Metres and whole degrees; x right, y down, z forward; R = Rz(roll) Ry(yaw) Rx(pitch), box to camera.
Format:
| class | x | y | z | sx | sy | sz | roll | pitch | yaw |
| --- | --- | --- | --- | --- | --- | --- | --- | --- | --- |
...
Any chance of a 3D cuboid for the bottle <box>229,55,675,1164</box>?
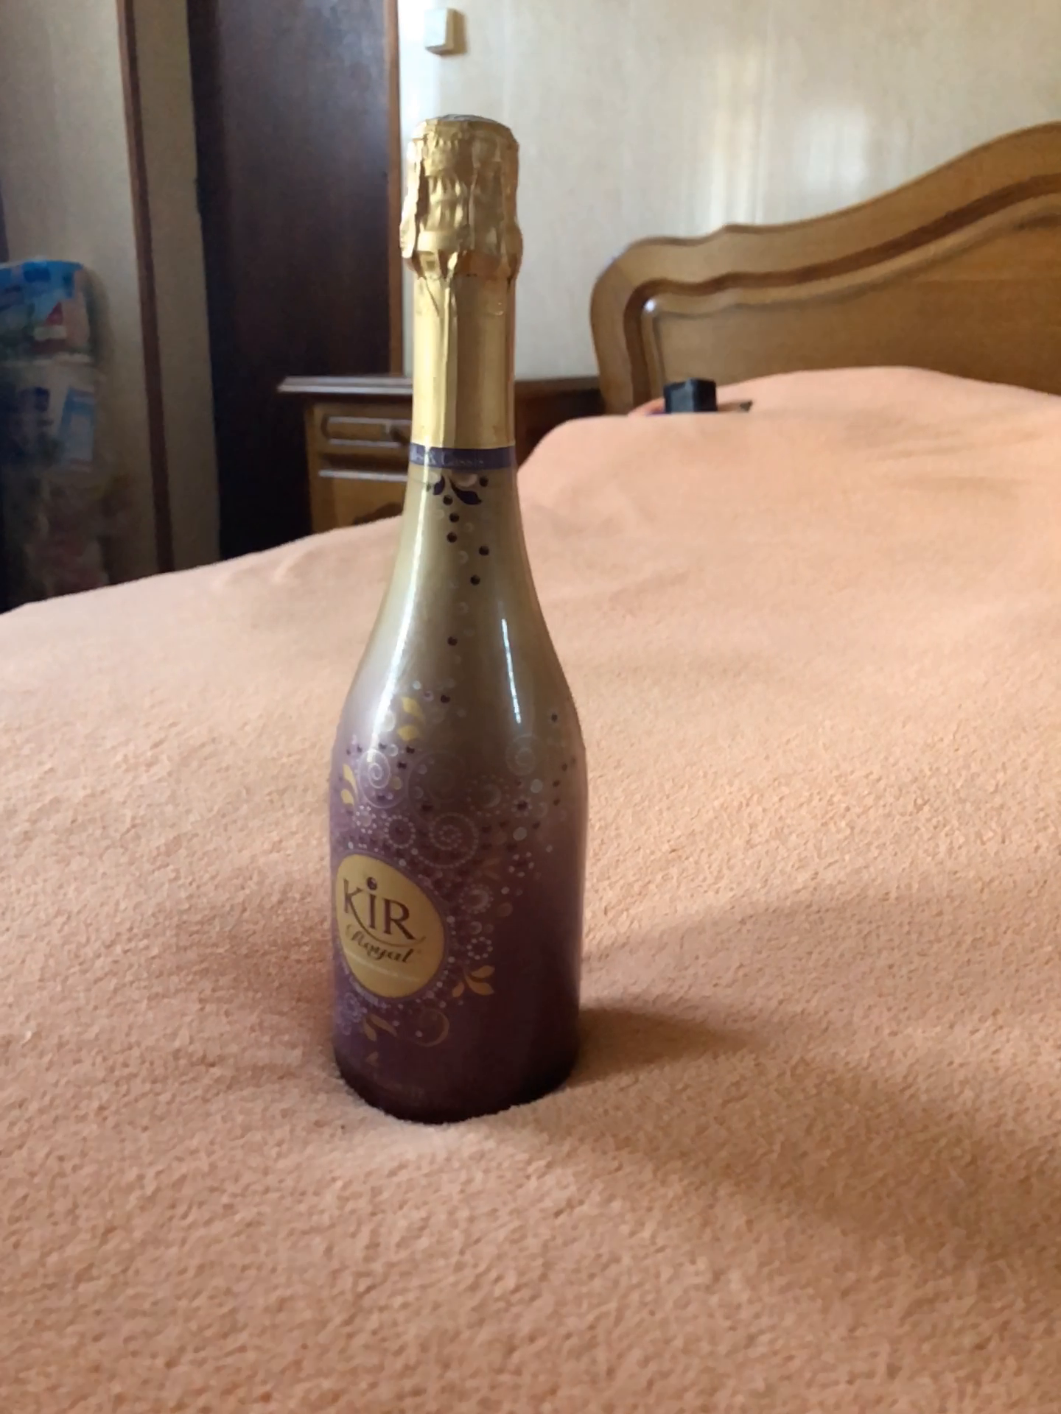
| class | x | y | z | sx | sy | sz | roll | pitch | yaw |
| --- | --- | --- | --- | --- | --- | --- | --- | --- | --- |
| bottle | -0.026 | -0.025 | 0.379 | 0.090 | 0.309 | 0.090 | 2 | 17 | -1 |
